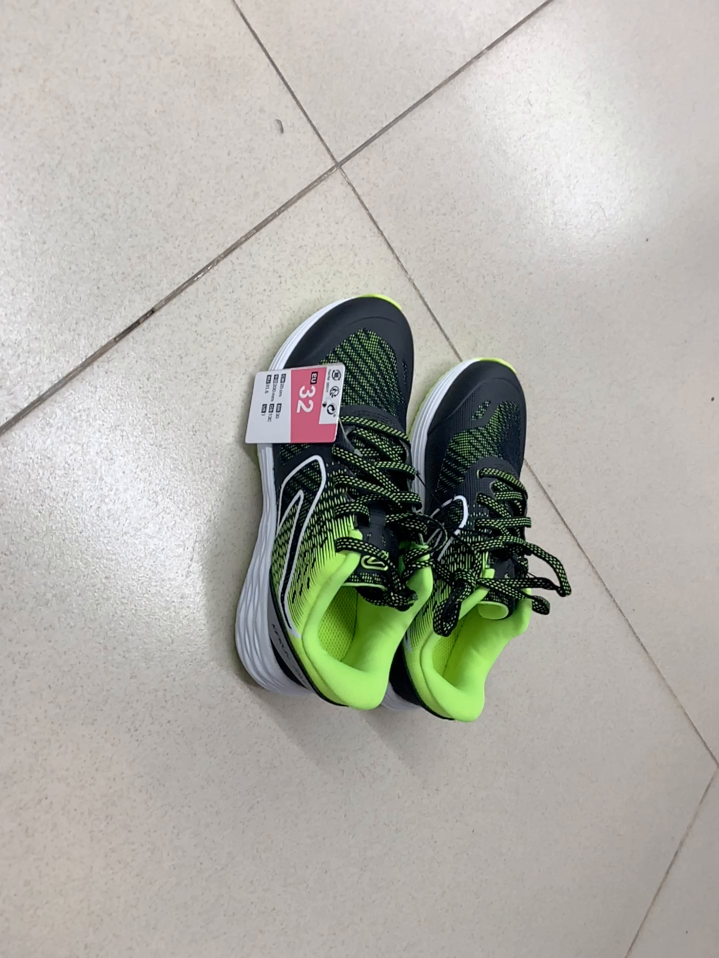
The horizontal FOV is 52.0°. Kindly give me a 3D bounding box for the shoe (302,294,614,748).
[{"bbox_3d":[0.062,0.025,0.461,0.090,0.110,0.240,22,77,-32],"label":"shoe"}]

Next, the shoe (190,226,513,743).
[{"bbox_3d":[-0.006,0.006,0.407,0.090,0.110,0.240,16,81,-33],"label":"shoe"}]
